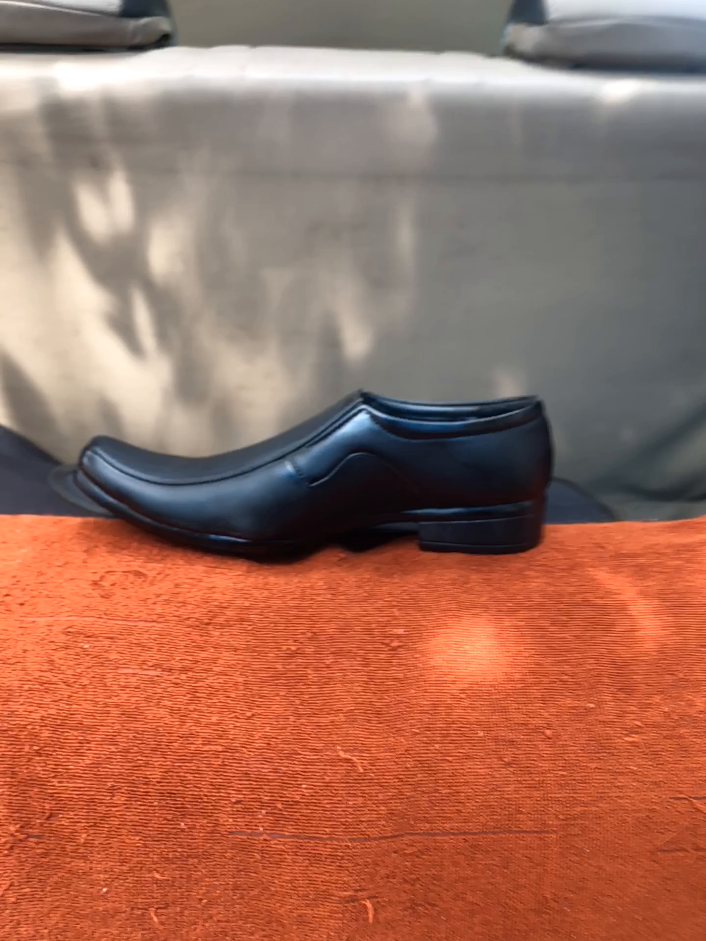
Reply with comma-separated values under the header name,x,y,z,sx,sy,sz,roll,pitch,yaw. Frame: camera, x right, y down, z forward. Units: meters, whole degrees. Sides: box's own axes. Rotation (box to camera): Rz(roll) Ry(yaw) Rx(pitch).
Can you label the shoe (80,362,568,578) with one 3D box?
name,x,y,z,sx,sy,sz,roll,pitch,yaw
shoe,-0.012,-0.012,0.547,0.290,0.100,0.161,3,13,9
